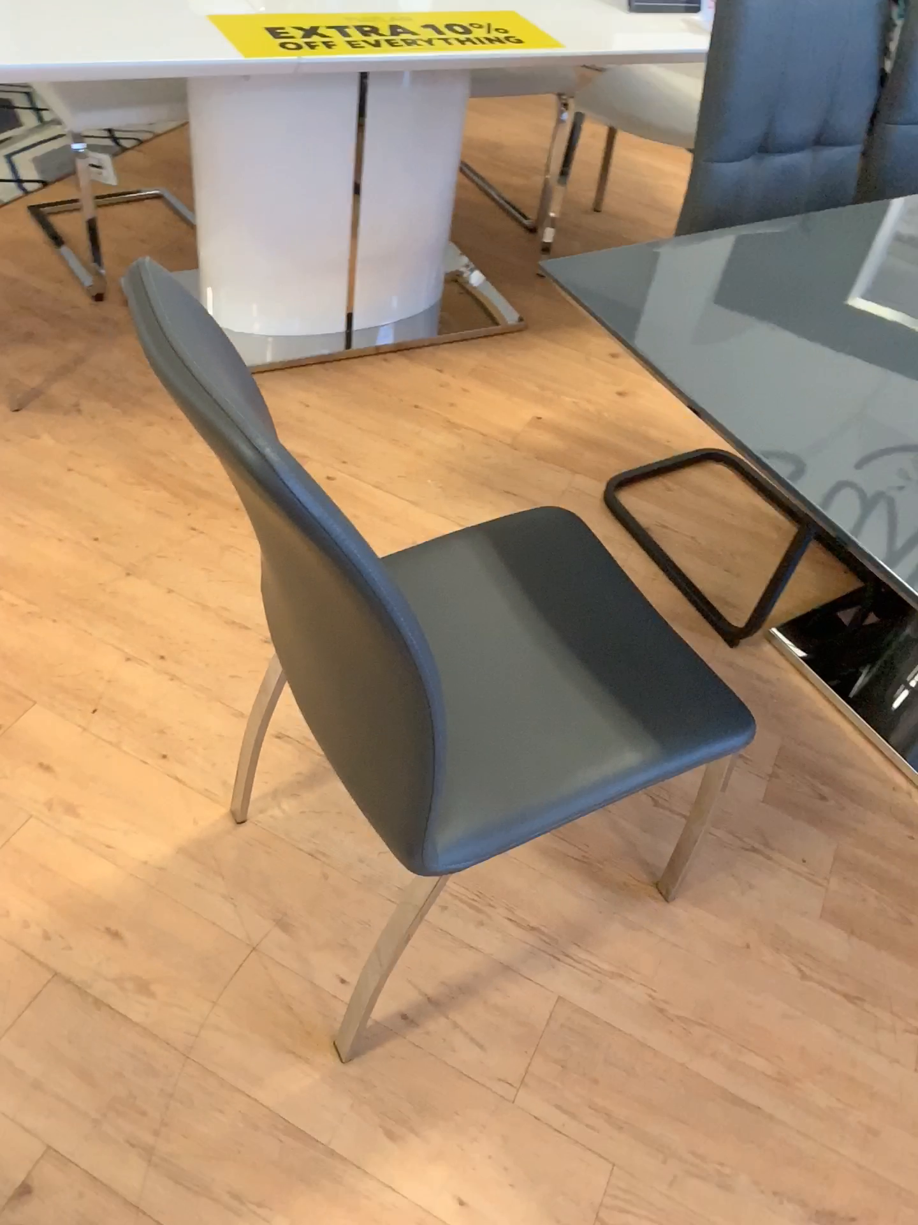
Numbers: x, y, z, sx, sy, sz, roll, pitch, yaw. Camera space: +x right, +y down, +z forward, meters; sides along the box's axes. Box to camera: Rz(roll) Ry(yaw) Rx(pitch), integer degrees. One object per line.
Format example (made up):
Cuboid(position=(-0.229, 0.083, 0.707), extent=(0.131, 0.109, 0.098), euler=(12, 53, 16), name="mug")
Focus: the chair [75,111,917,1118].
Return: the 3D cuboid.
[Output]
Cuboid(position=(0.032, 0.034, 1.060), extent=(0.632, 0.912, 0.513), euler=(-18, 53, -24), name="chair")
